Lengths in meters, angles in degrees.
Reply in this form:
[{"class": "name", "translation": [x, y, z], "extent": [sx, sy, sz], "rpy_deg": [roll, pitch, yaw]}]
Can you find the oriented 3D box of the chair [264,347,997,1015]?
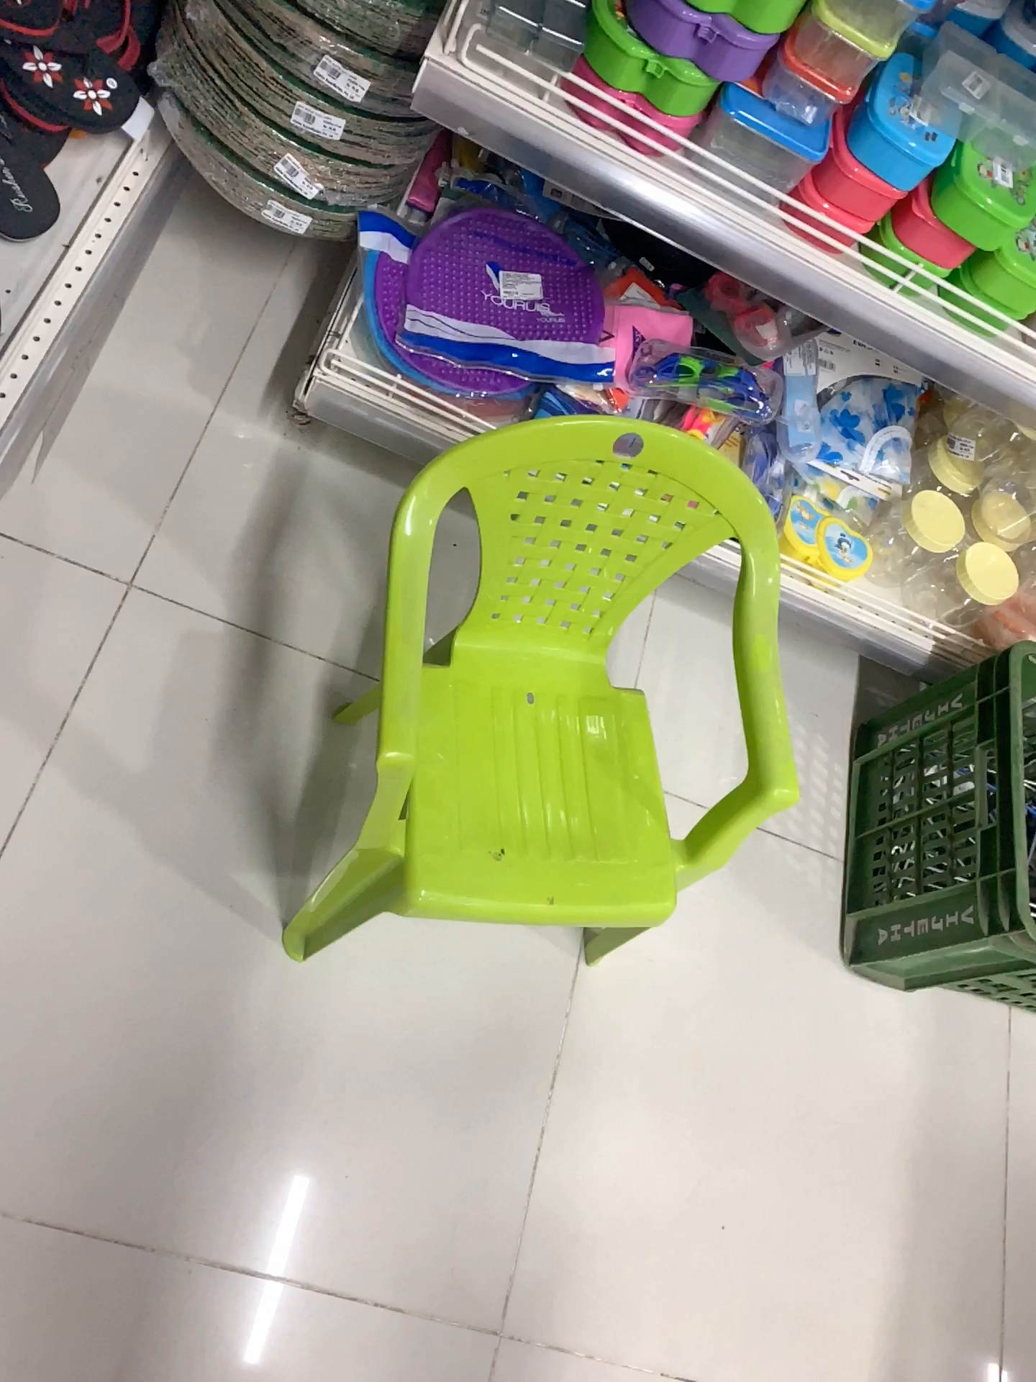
[{"class": "chair", "translation": [0.038, 0.055, 0.875], "extent": [0.390, 0.469, 0.360], "rpy_deg": [8, 67, -19]}]
